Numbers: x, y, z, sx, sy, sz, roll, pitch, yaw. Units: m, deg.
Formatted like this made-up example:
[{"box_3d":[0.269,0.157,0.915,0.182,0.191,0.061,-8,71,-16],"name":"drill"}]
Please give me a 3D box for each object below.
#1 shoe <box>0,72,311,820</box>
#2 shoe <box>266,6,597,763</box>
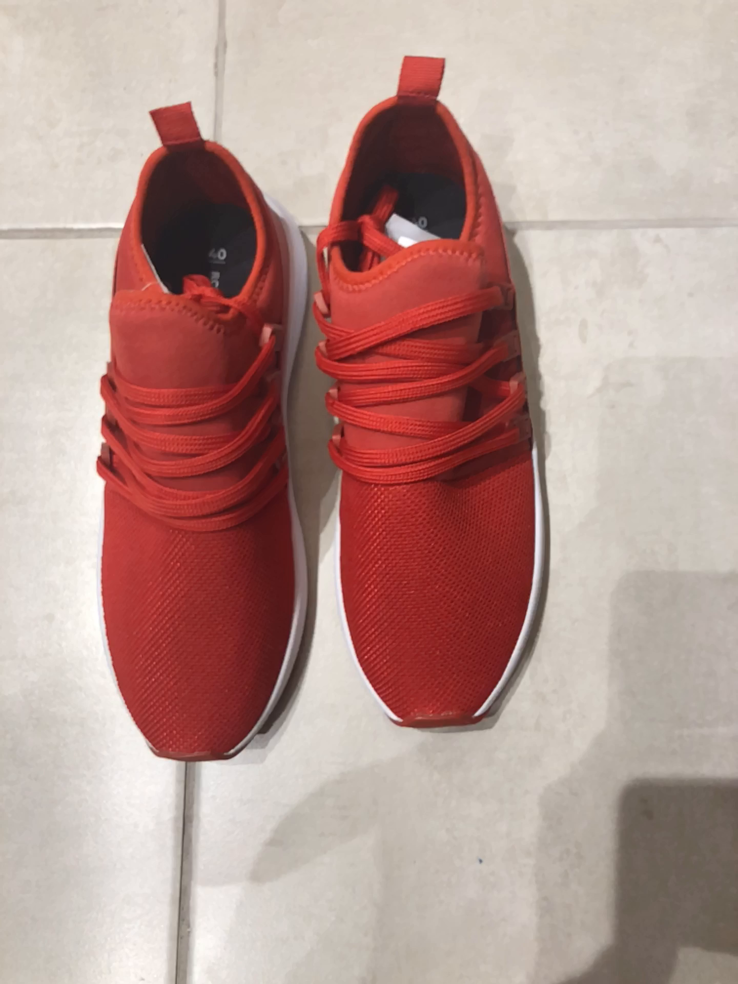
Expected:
[{"box_3d":[-0.088,-0.016,0.364,0.100,0.140,0.270,0,82,4],"name":"shoe"},{"box_3d":[0.023,-0.036,0.361,0.100,0.140,0.270,-4,82,3],"name":"shoe"}]
